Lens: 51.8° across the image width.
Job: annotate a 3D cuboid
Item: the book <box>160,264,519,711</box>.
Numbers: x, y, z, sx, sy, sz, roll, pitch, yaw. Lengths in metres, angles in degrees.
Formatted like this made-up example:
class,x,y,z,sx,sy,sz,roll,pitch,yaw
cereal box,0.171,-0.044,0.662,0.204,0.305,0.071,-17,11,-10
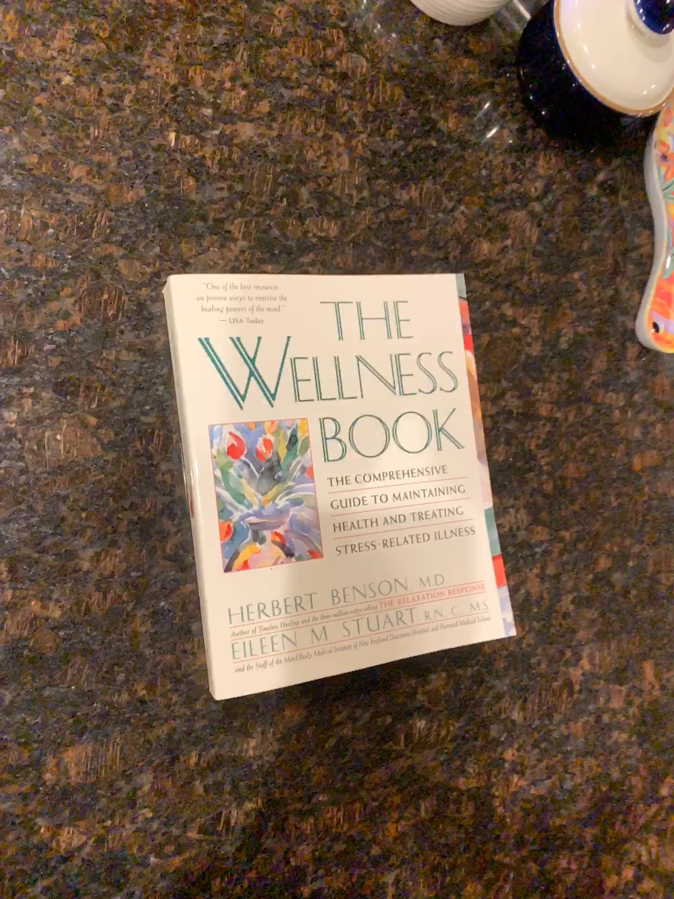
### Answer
class,x,y,z,sx,sy,sz,roll,pitch,yaw
book,0.001,0.012,0.432,0.188,0.060,0.240,-6,86,-22
